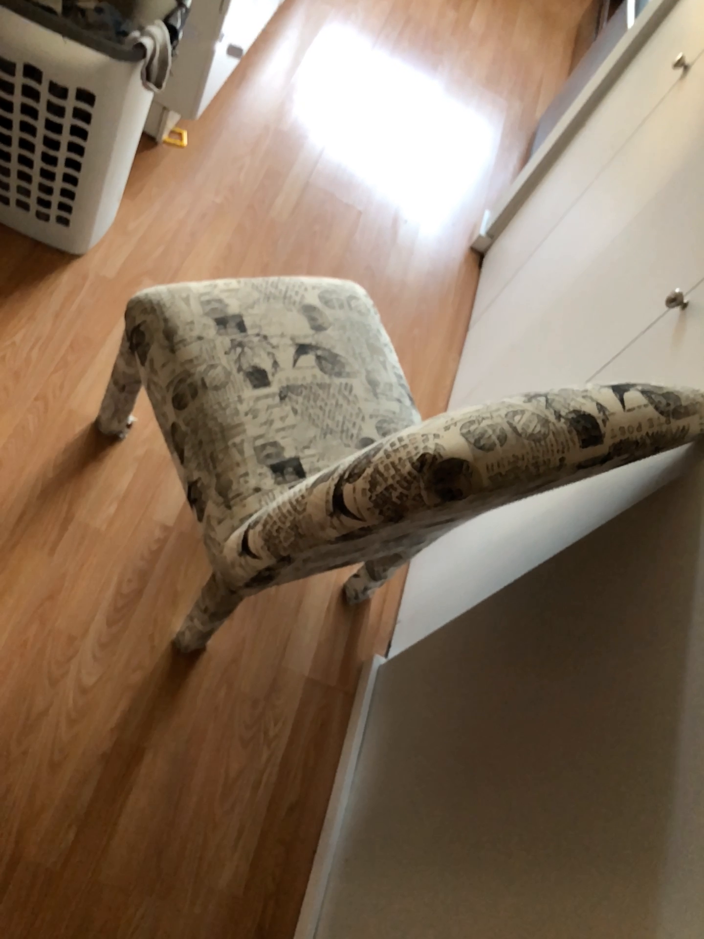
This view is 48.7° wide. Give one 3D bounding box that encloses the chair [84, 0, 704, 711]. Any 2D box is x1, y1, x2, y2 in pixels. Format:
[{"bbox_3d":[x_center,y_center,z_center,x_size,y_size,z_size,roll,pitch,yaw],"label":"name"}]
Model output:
[{"bbox_3d":[-0.038,-0.114,1.307,0.521,0.998,0.670,-10,67,-31],"label":"chair"}]
